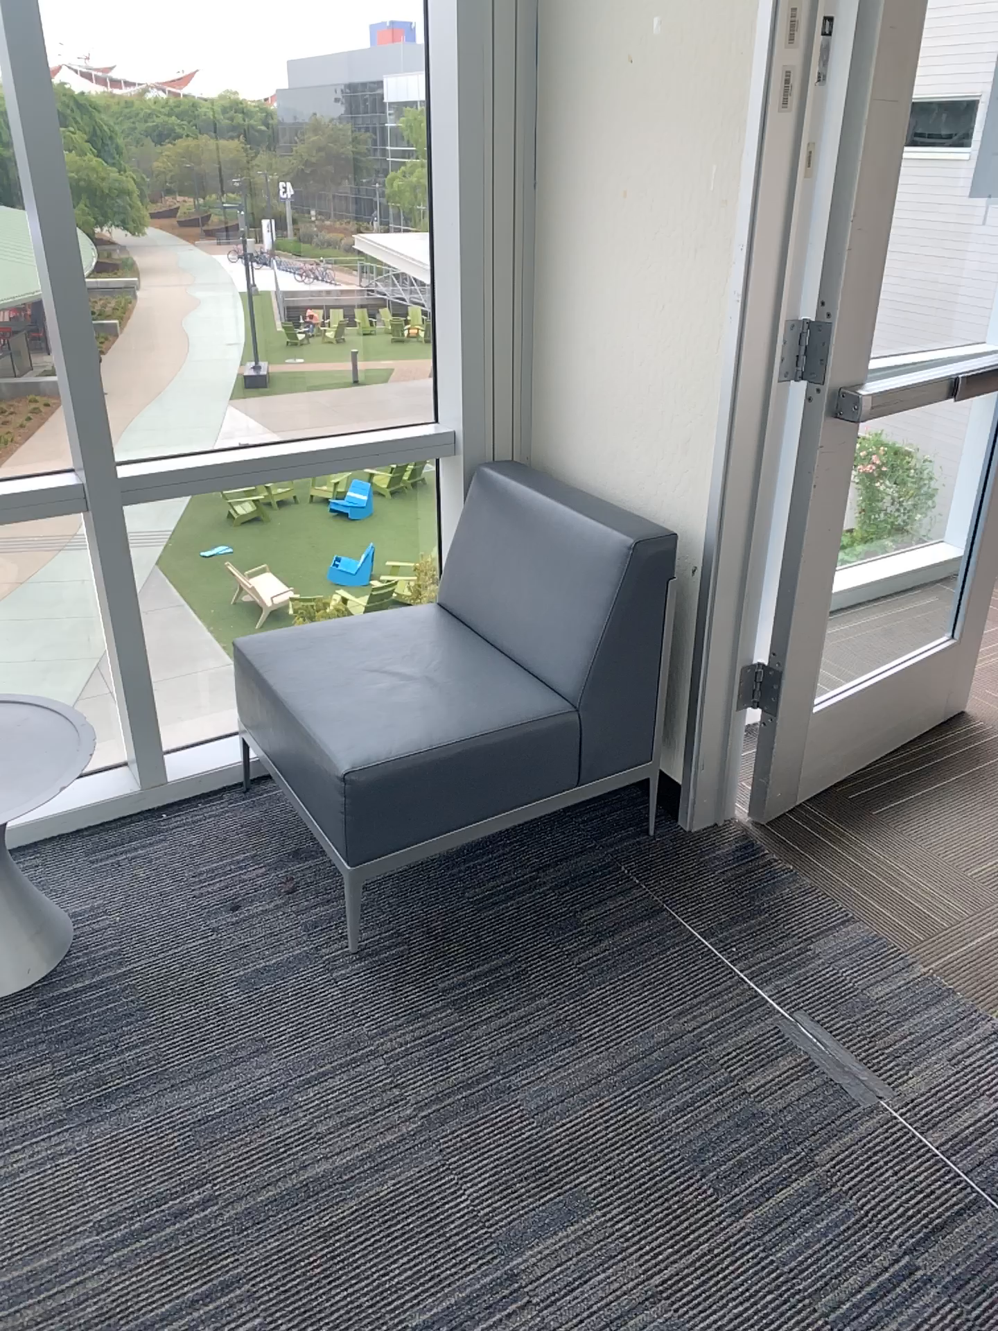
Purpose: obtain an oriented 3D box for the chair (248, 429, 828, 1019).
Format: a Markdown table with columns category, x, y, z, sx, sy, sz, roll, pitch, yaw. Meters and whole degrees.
| category | x | y | z | sx | sy | sz | roll | pitch | yaw |
| --- | --- | --- | --- | --- | --- | --- | --- | --- | --- |
| chair | 0.047 | 0.027 | 2.626 | 1.000 | 0.995 | 1.005 | -14 | 27 | -28 |
